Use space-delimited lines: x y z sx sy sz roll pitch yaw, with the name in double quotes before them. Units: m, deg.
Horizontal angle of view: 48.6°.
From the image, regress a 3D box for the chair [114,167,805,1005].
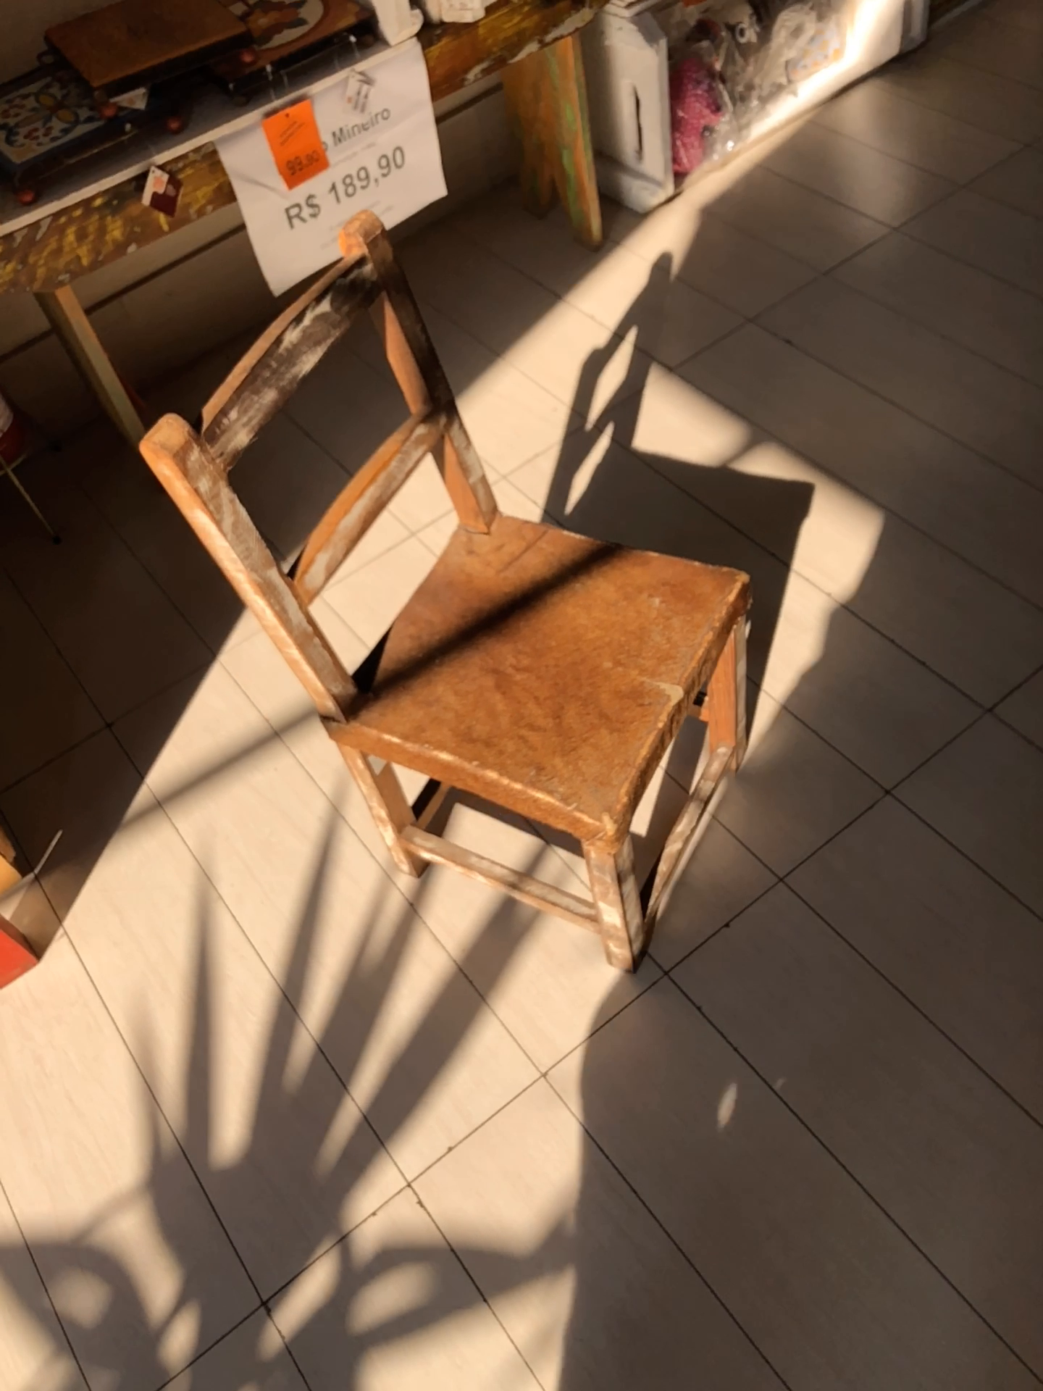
"chair" 0.008 -0.057 0.962 0.341 0.596 0.301 18 58 23
